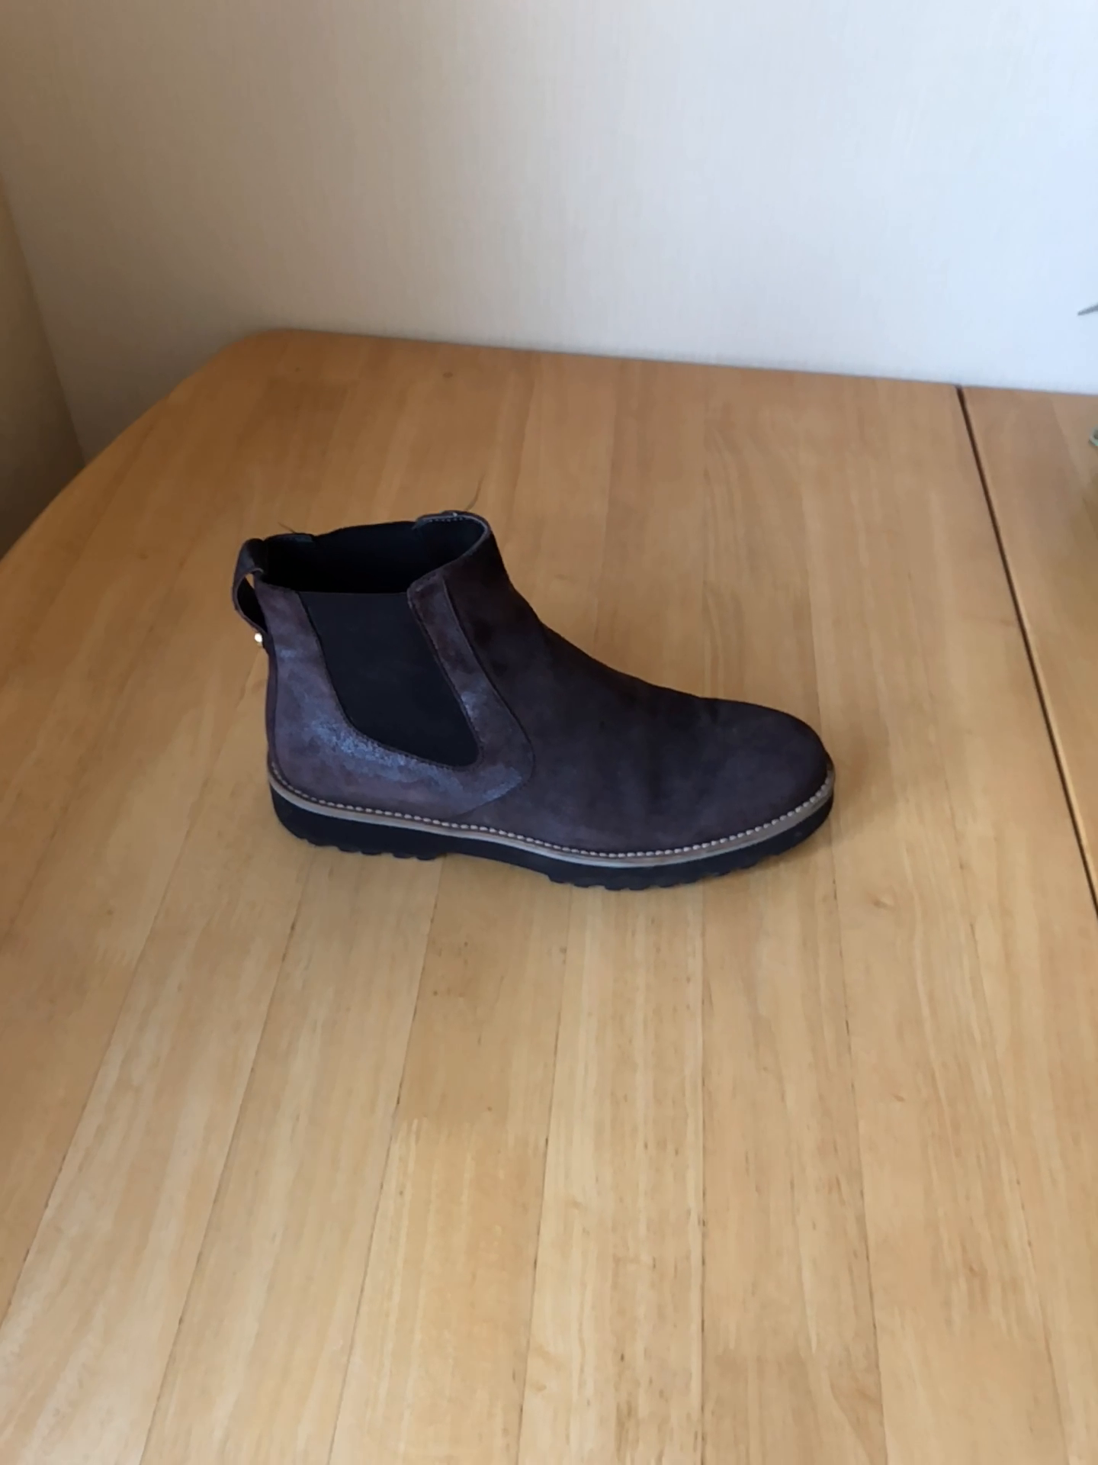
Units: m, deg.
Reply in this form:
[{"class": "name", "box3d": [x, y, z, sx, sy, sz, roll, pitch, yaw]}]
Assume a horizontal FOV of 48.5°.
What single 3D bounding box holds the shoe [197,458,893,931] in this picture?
[{"class": "shoe", "box3d": [0.001, -0.014, 0.460, 0.220, 0.120, 0.100, 6, 46, 4]}]
